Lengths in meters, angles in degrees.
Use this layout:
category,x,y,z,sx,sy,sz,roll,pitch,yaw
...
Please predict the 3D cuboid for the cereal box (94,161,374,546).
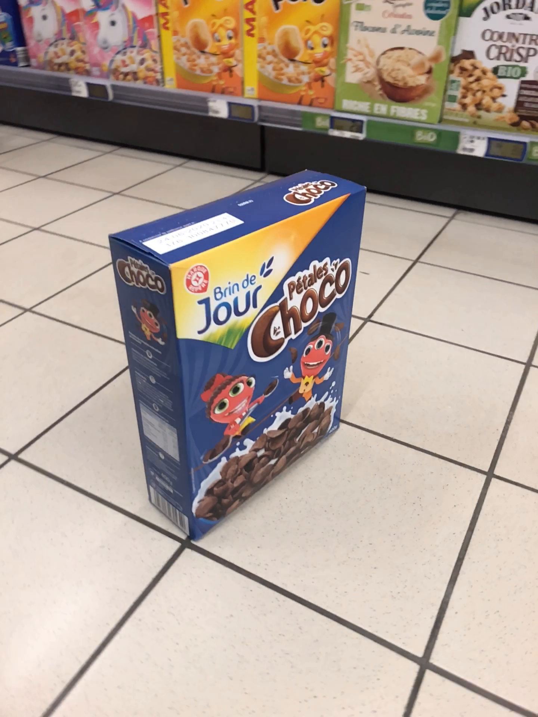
category,x,y,z,sx,sy,sz,roll,pitch,yaw
cereal box,-0.016,-0.007,0.482,0.070,0.248,0.201,29,43,35
